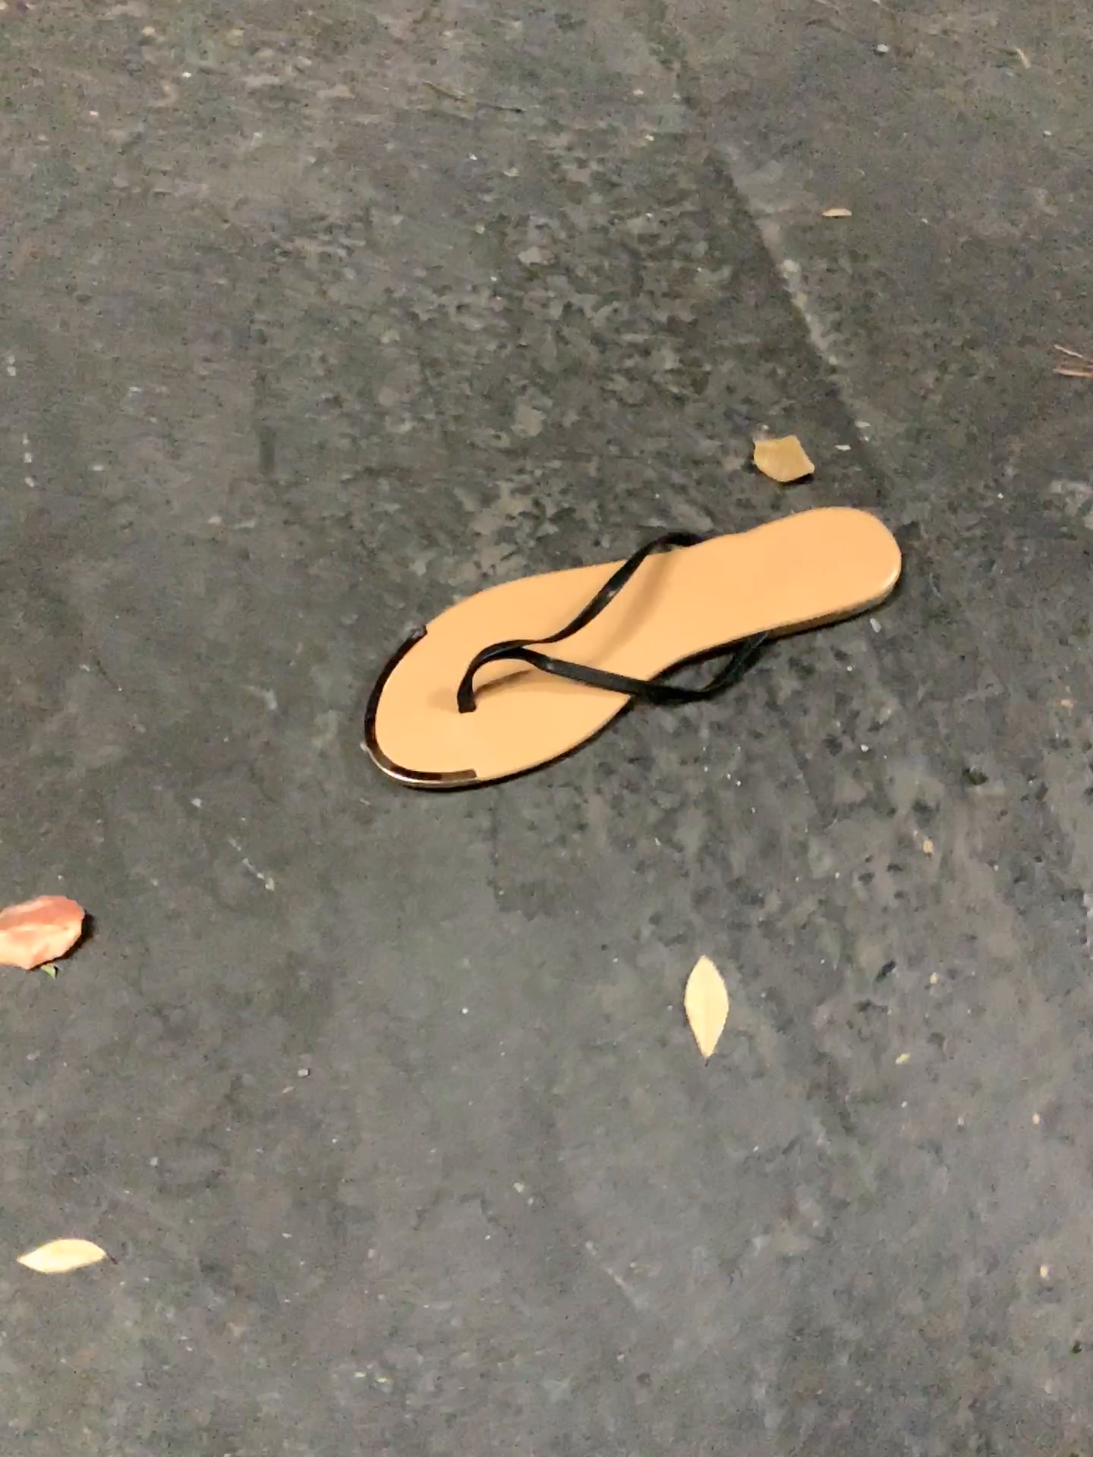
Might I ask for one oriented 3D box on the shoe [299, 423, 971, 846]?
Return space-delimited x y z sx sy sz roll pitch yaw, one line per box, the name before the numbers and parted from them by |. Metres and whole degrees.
shoe | 0.041 -0.052 0.572 0.290 0.030 0.110 -22 58 -10
